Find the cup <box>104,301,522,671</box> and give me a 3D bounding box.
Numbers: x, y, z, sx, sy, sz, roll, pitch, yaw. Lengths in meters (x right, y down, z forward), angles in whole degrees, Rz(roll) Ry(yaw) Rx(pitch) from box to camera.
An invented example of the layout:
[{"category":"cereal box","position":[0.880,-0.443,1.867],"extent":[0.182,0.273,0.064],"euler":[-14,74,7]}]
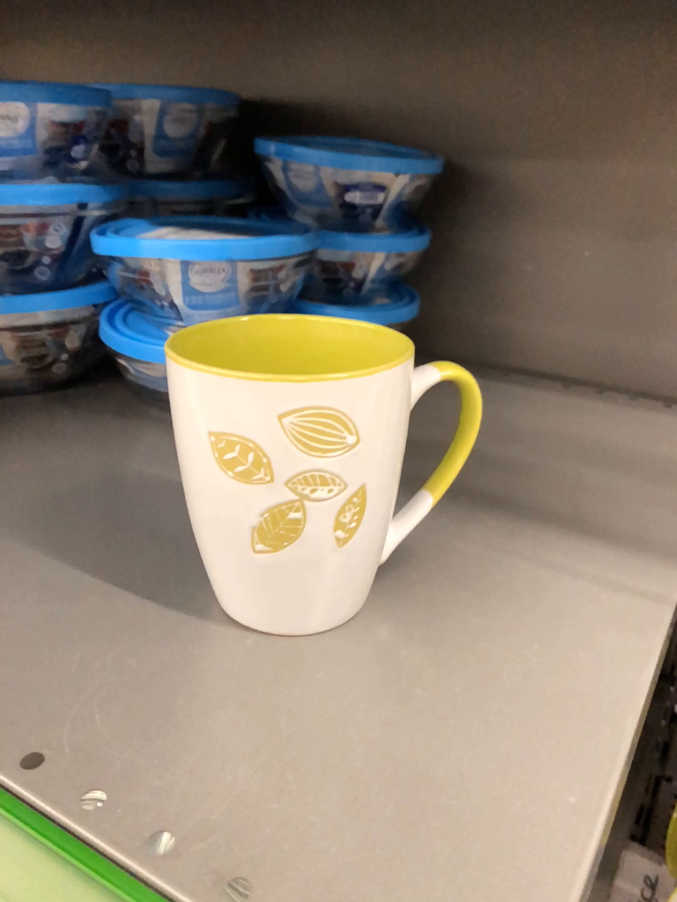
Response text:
[{"category":"cup","position":[-0.014,0.002,0.293],"extent":[0.126,0.095,0.094],"euler":[-9,25,-24]}]
